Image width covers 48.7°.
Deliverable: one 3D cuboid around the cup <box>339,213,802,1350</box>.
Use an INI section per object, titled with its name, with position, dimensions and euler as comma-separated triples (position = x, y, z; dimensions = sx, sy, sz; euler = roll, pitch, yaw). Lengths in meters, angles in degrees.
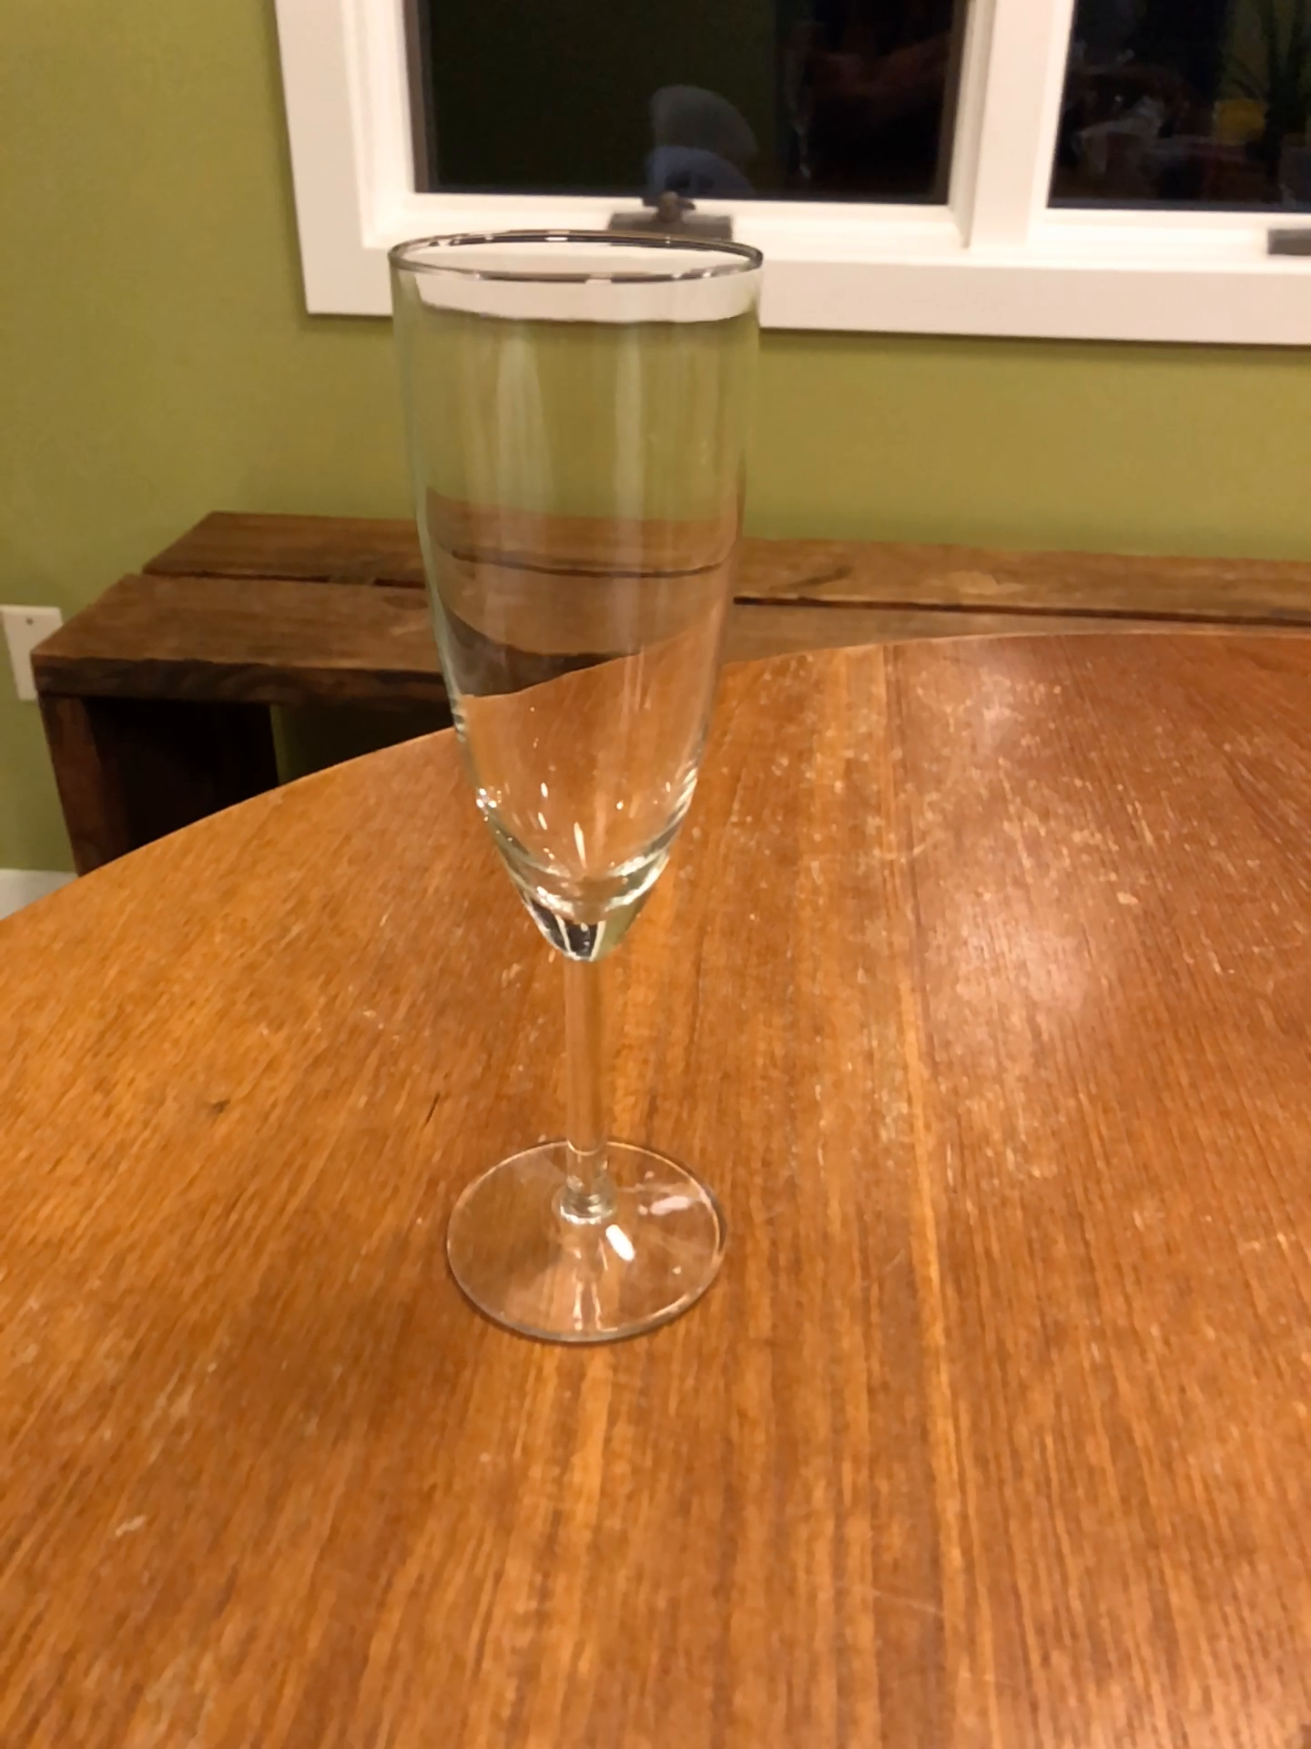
[cup]
position = -0.016, -0.012, 0.291
dimensions = 0.066, 0.215, 0.074
euler = -2, 29, -5
